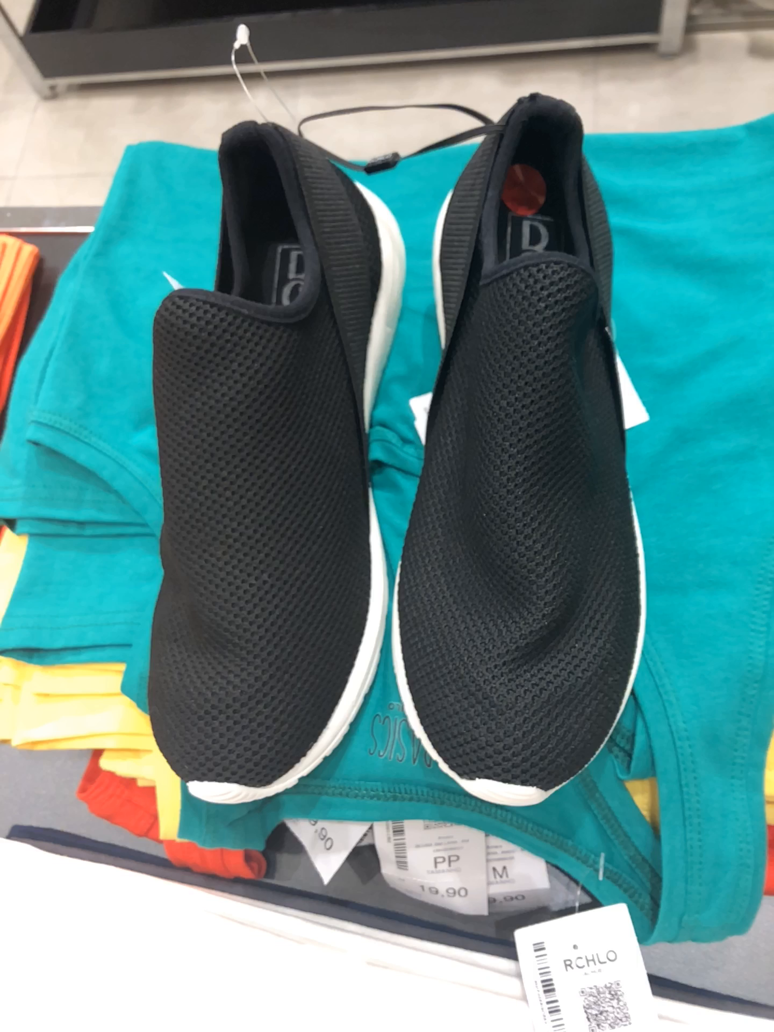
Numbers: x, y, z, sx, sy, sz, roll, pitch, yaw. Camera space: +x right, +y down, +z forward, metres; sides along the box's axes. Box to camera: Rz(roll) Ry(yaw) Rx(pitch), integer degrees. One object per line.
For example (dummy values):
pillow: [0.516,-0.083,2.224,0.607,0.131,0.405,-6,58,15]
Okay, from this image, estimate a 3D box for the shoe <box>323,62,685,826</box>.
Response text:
shoe: [0.049,-0.021,0.314,0.090,0.120,0.241,2,69,11]

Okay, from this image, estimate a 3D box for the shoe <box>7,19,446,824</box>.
shoe: [-0.038,-0.029,0.322,0.090,0.120,0.261,2,72,11]
